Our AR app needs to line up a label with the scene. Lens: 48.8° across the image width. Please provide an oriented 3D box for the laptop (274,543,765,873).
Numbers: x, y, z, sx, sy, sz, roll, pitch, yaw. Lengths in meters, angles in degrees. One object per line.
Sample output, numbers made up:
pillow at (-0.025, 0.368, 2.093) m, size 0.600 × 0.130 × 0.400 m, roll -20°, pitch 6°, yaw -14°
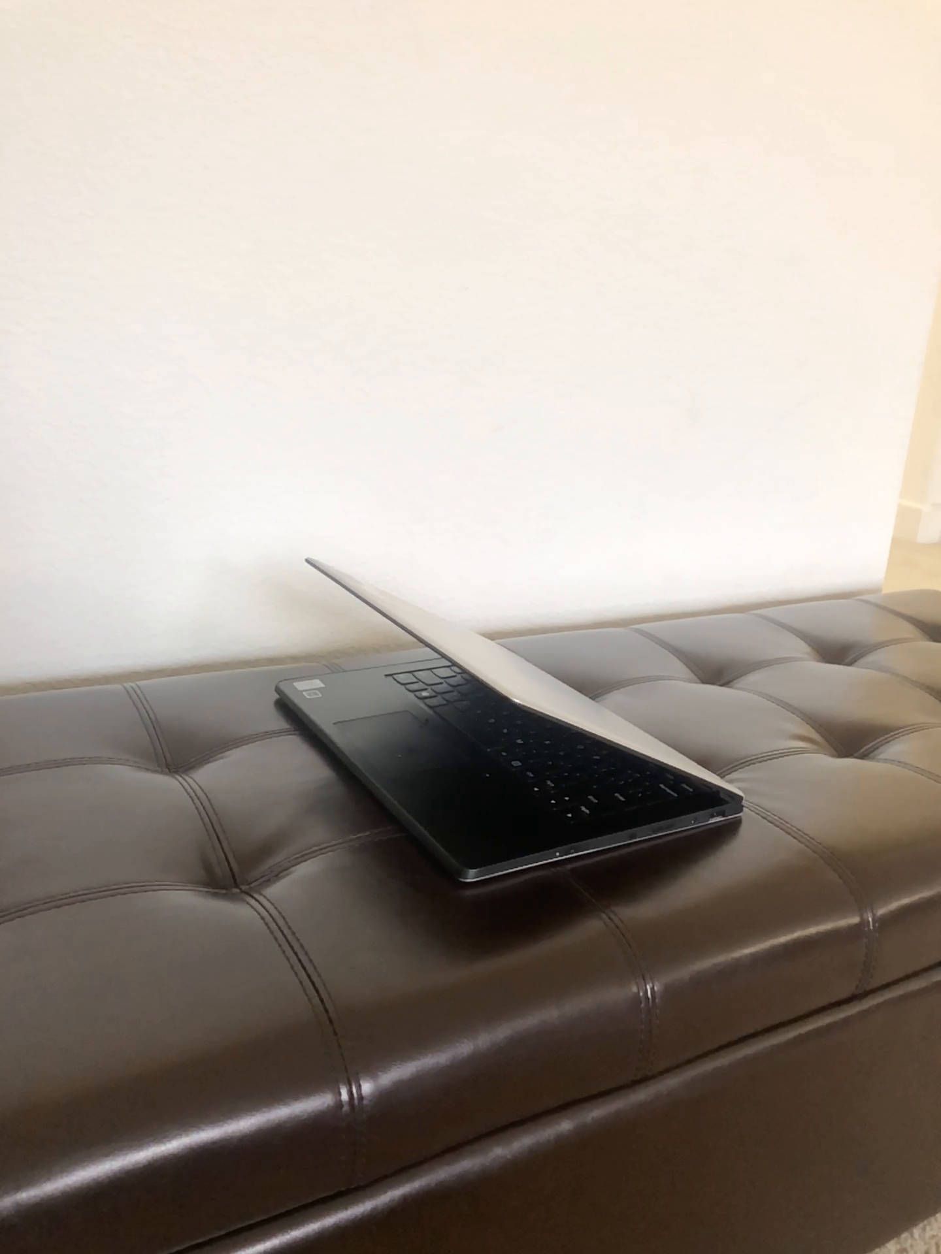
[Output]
laptop at (0.014, 0.031, 0.709) m, size 0.198 × 0.097 × 0.294 m, roll -7°, pitch 21°, yaw -30°
